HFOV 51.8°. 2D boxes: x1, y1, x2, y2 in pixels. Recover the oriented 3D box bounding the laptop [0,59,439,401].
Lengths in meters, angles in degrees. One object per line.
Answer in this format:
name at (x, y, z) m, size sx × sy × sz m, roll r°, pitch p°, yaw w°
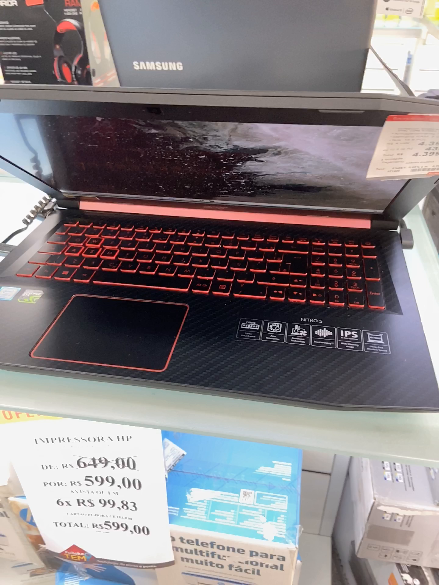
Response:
laptop at (-0.028, -0.080, 0.371) m, size 0.380 × 0.163 × 0.235 m, roll 5°, pitch 37°, yaw 10°
